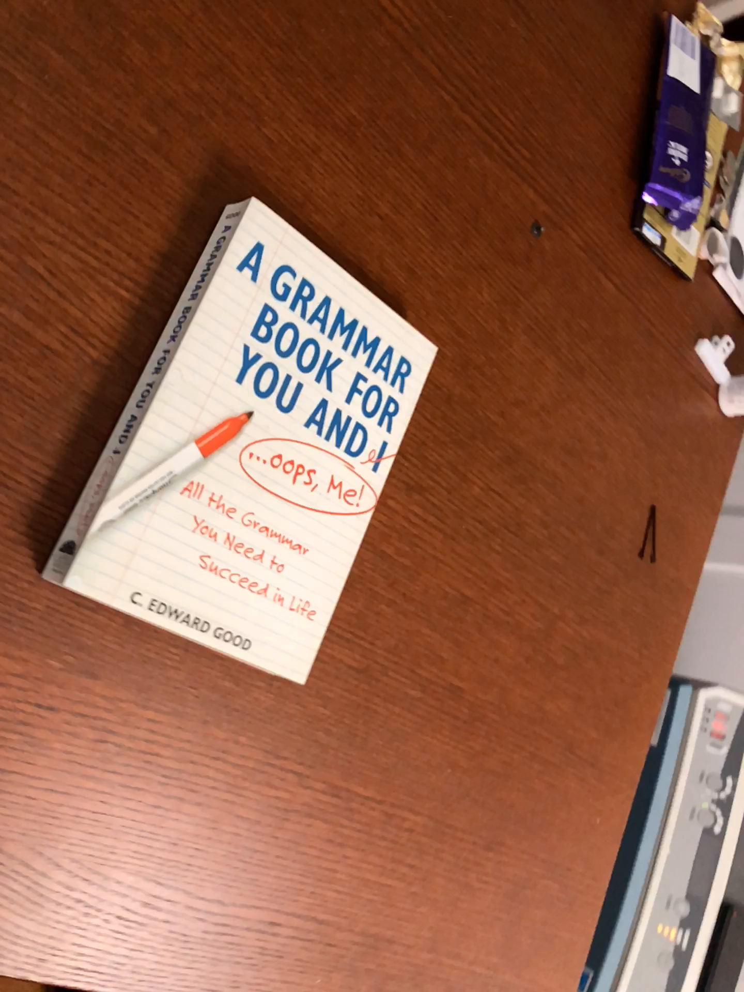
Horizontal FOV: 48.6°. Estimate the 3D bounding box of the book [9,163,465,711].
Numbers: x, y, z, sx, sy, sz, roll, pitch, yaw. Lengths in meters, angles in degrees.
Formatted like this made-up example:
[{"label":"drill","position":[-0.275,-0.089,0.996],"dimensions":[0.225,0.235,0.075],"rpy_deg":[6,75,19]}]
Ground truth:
[{"label":"book","position":[-0.057,-0.027,0.456],"dimensions":[0.170,0.040,0.240],"rpy_deg":[33,71,-34]}]
